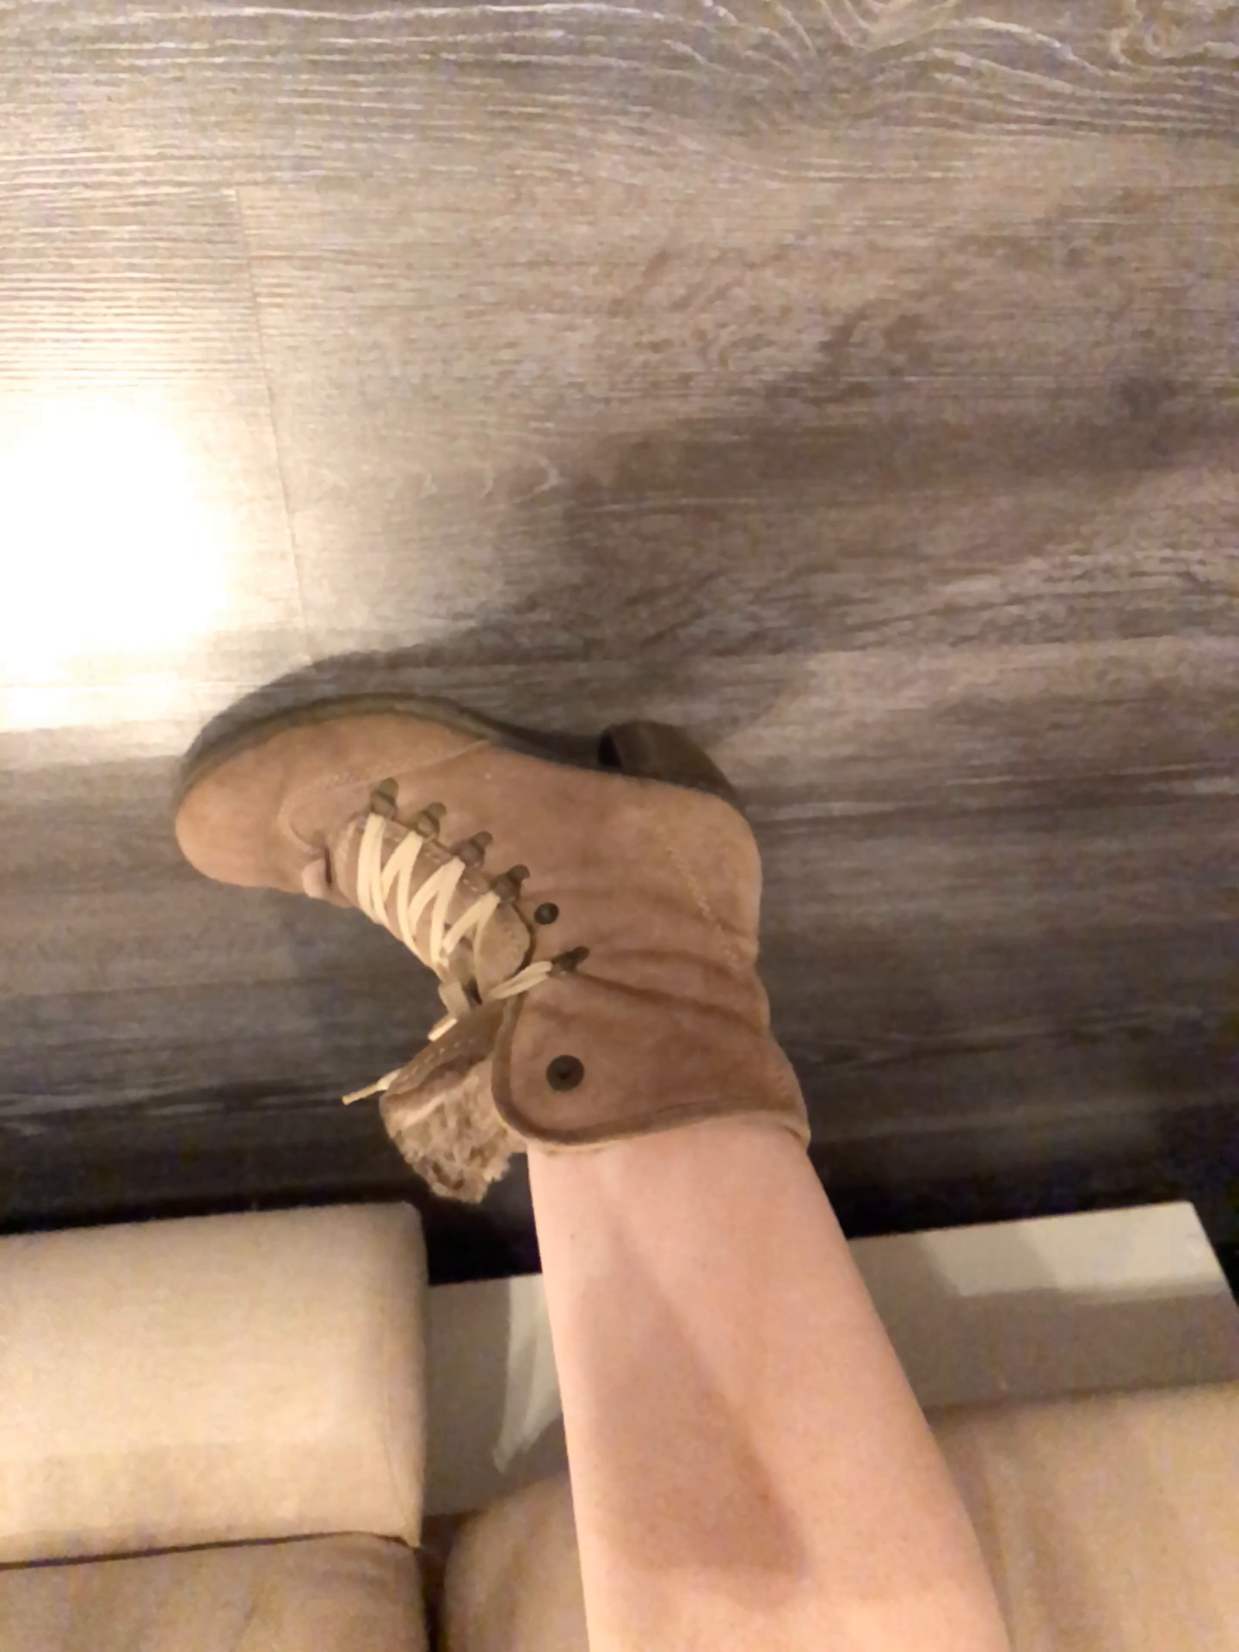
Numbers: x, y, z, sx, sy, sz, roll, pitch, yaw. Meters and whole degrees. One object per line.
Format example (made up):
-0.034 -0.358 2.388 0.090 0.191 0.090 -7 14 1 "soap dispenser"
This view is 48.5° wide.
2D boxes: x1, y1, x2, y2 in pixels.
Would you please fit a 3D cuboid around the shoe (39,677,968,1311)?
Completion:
-0.046 0.054 0.541 0.290 0.209 0.110 -2 136 -8 "shoe"
